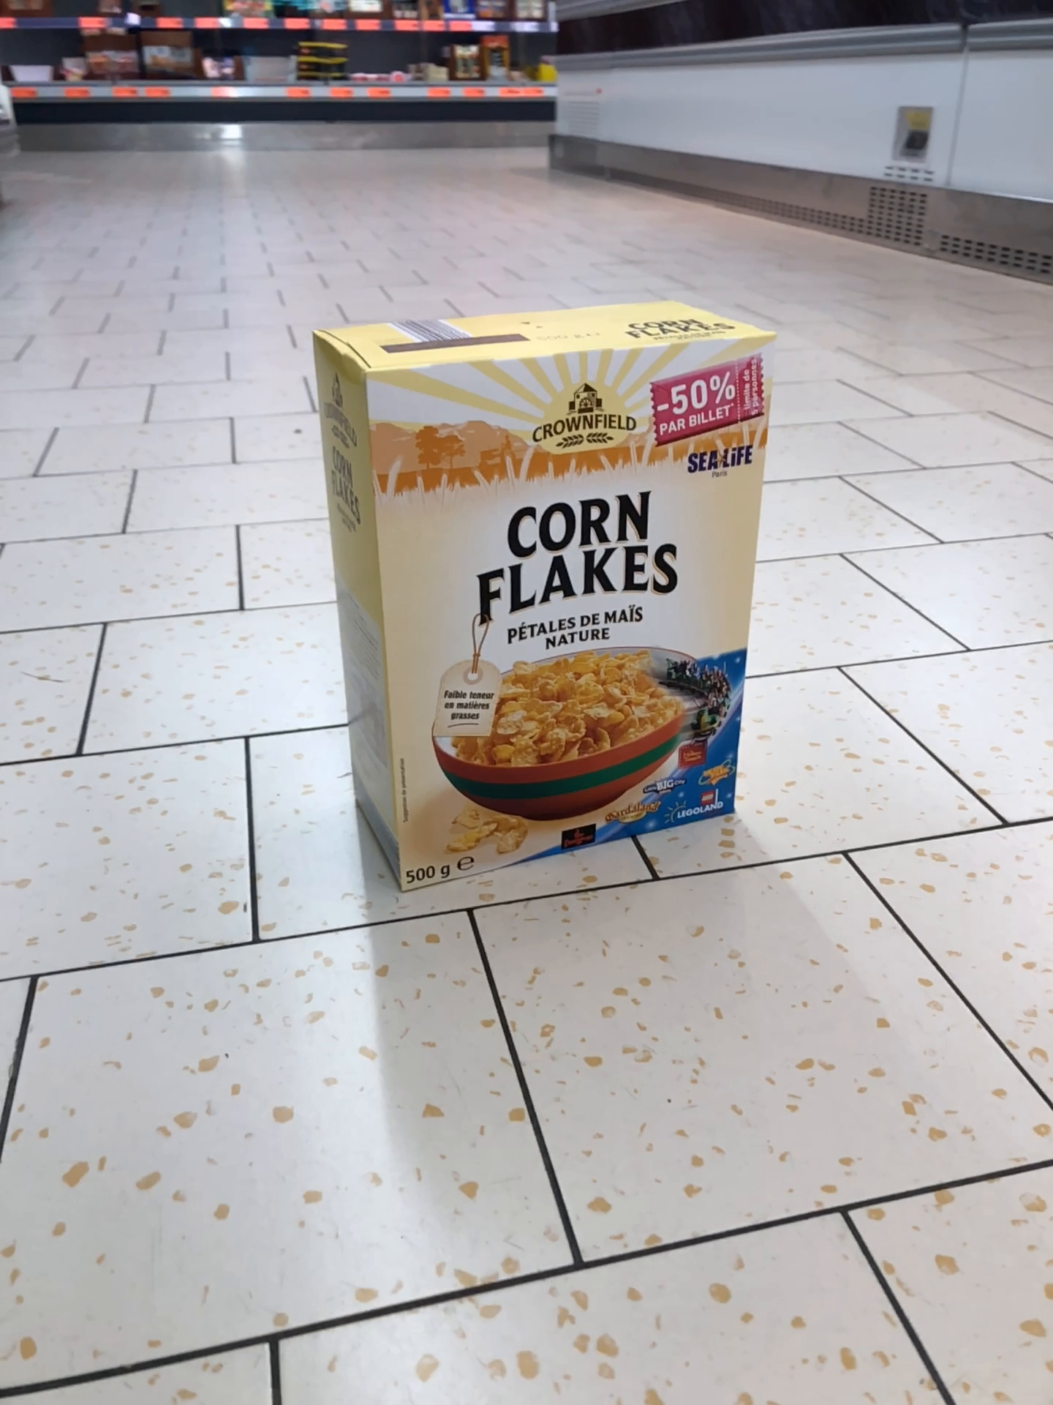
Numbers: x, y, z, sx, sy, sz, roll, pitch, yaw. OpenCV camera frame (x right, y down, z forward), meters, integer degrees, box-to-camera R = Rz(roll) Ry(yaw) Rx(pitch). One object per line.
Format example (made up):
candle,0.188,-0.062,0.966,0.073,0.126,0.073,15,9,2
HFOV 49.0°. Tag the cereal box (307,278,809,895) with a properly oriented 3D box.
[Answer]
cereal box,0.013,-0.062,0.572,0.200,0.259,0.100,-11,29,-19
